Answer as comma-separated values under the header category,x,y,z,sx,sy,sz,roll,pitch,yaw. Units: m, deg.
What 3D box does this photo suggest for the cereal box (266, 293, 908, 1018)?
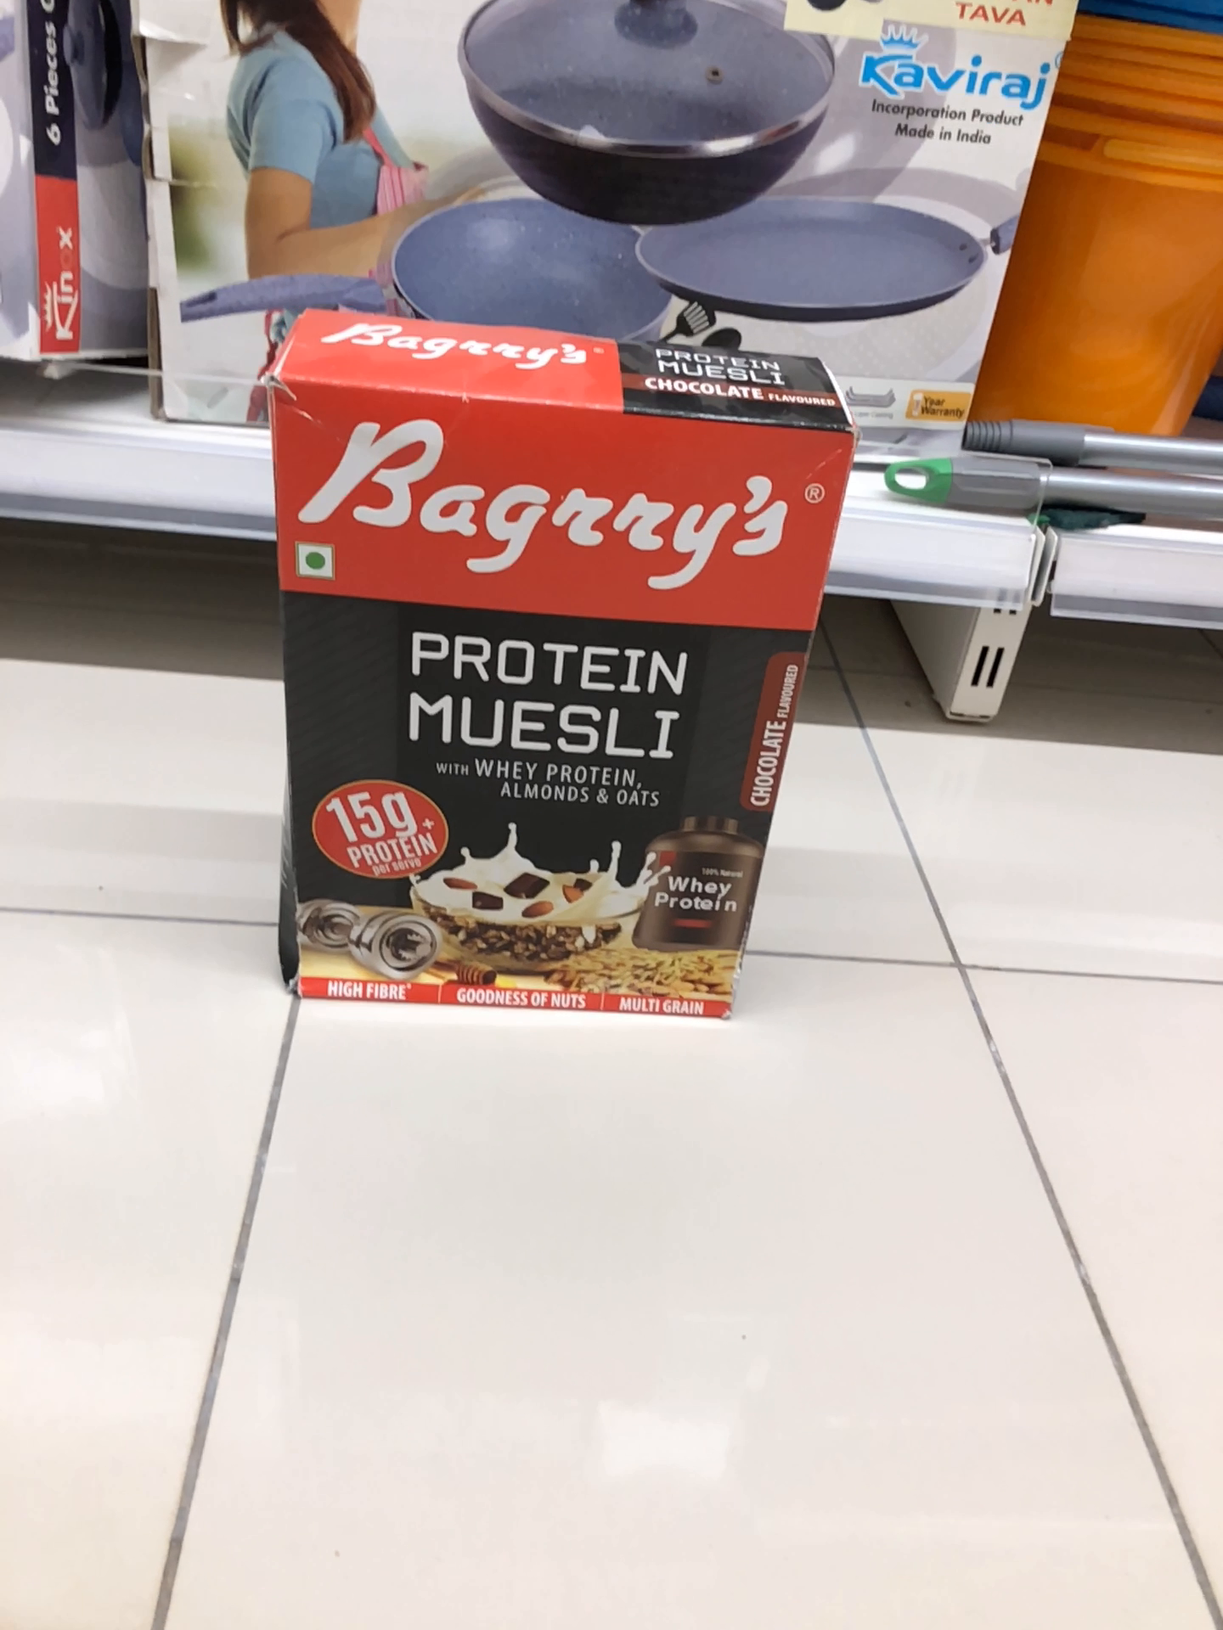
category,x,y,z,sx,sy,sz,roll,pitch,yaw
cereal box,-0.019,-0.048,0.494,0.190,0.238,0.081,4,33,-6
